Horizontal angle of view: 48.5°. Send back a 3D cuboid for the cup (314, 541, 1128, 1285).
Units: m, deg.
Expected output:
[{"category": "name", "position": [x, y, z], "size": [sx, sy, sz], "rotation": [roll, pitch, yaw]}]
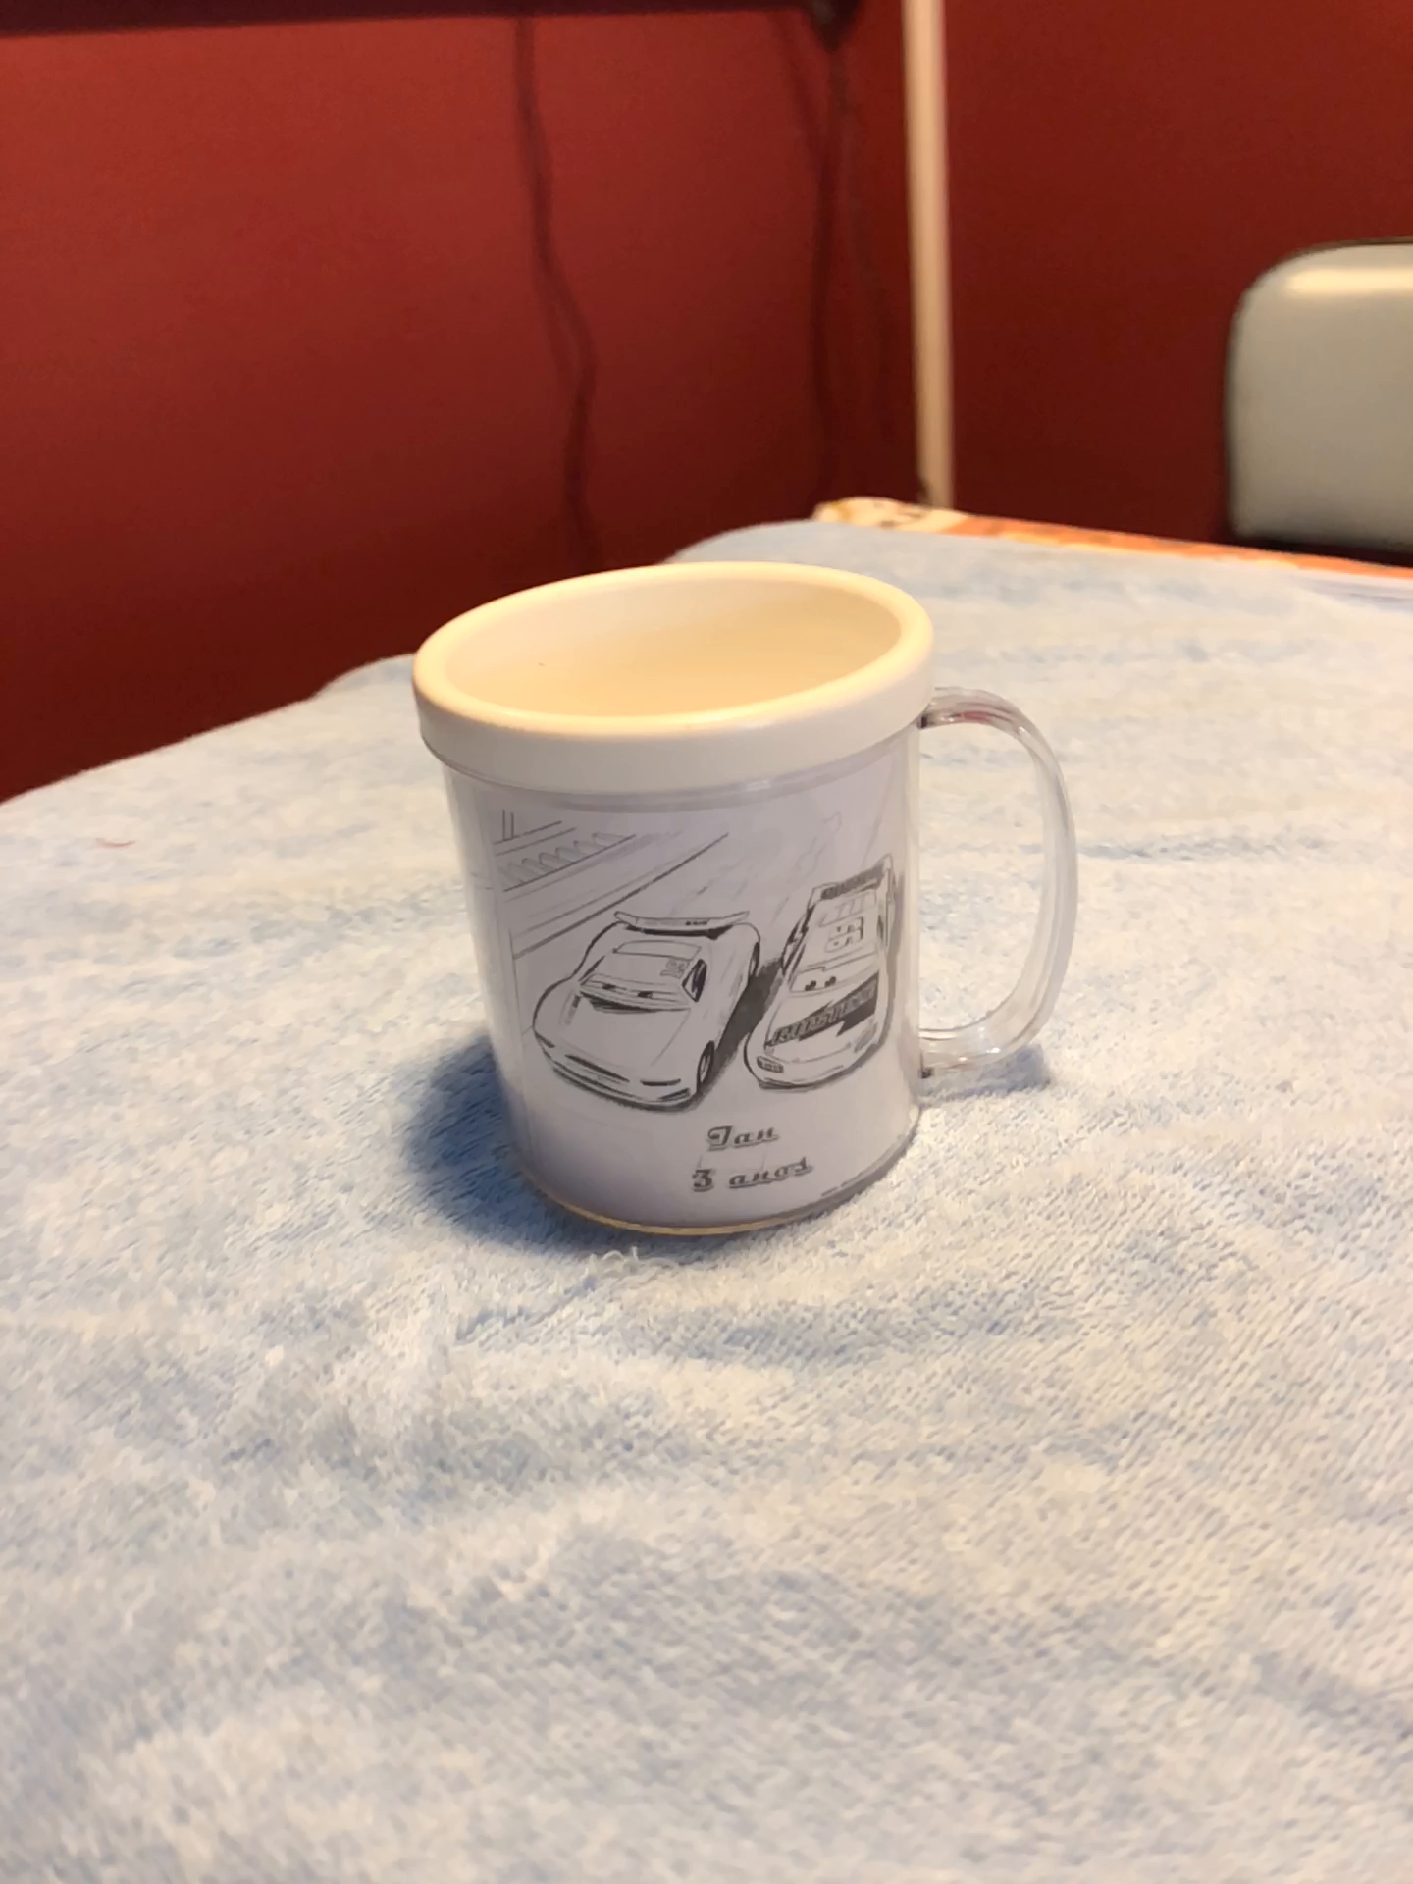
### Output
[{"category": "cup", "position": [0.005, -0.009, 0.293], "size": [0.120, 0.099, 0.091], "rotation": [-5, 27, 2]}]
